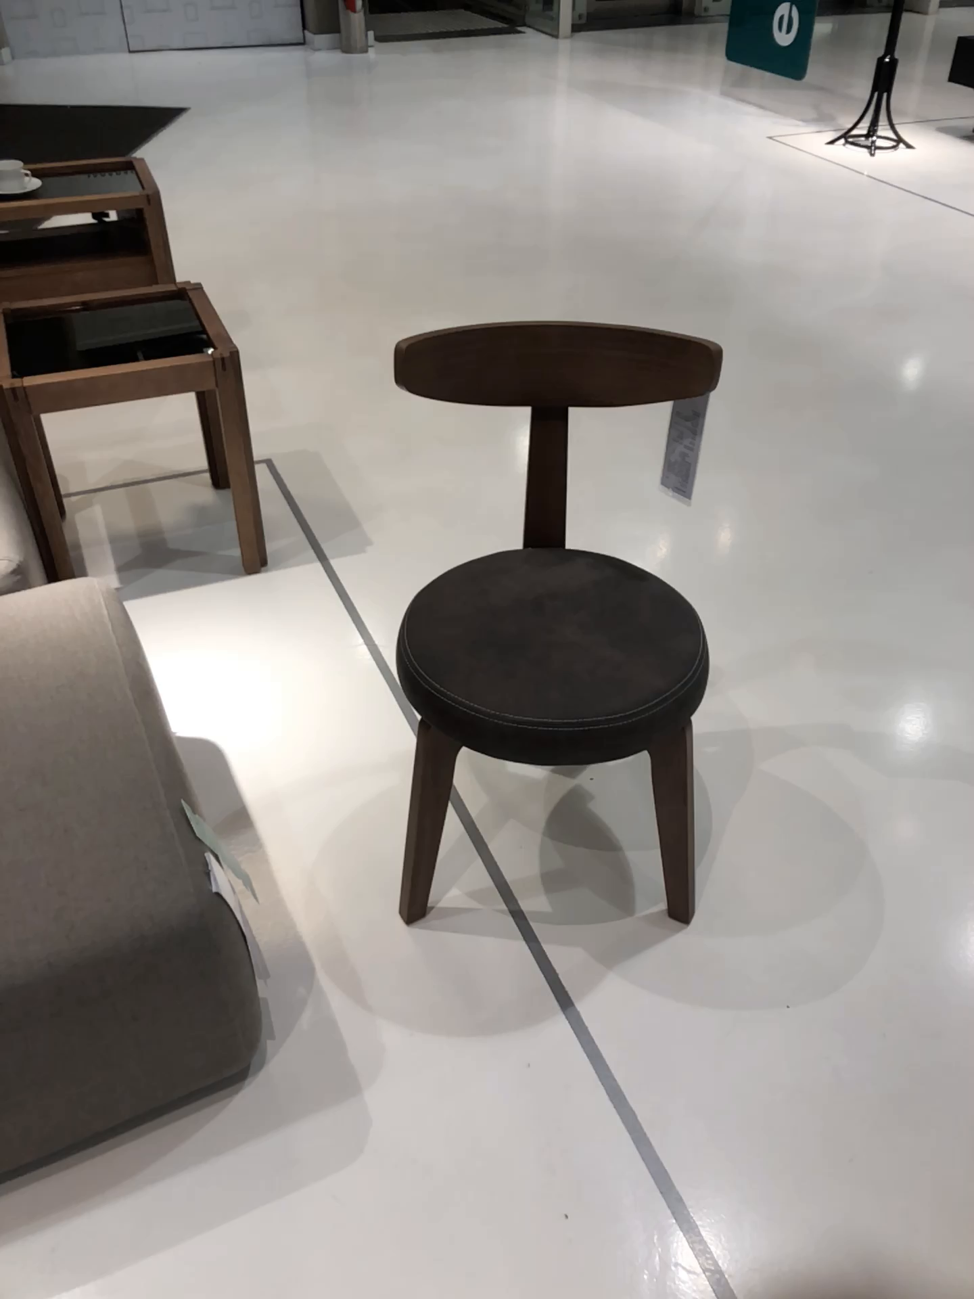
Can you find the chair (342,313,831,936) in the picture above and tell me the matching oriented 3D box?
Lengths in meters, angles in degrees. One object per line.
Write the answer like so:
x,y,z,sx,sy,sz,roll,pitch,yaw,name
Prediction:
0.099,-0.035,1.510,0.500,0.705,0.524,0,37,0,chair
